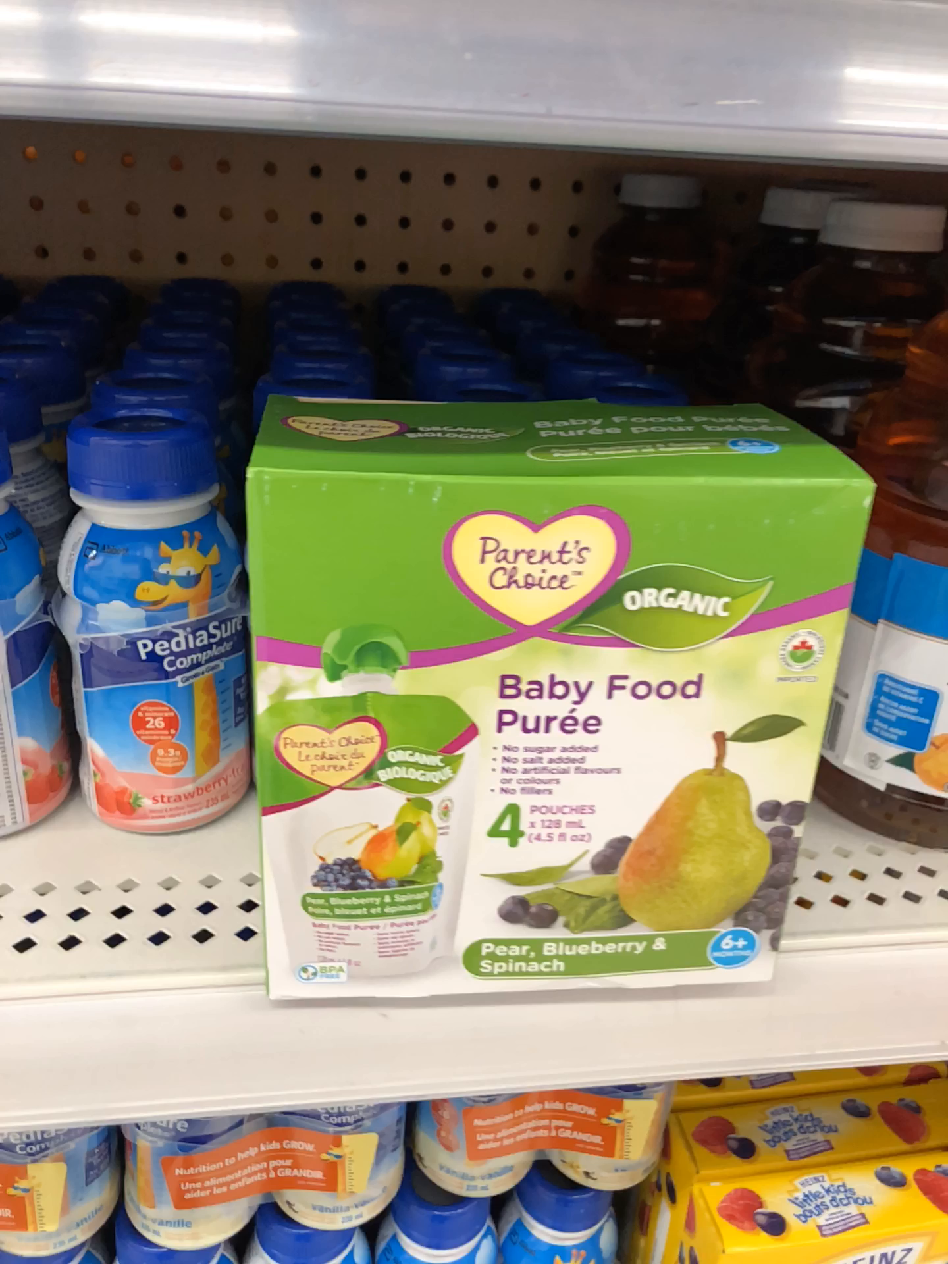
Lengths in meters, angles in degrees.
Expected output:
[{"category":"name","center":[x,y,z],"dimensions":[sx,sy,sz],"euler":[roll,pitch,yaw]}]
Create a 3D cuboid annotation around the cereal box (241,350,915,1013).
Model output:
[{"category":"cereal box","center":[0.014,0.013,0.302],"dimensions":[0.150,0.159,0.091],"euler":[1,25,-8]}]
